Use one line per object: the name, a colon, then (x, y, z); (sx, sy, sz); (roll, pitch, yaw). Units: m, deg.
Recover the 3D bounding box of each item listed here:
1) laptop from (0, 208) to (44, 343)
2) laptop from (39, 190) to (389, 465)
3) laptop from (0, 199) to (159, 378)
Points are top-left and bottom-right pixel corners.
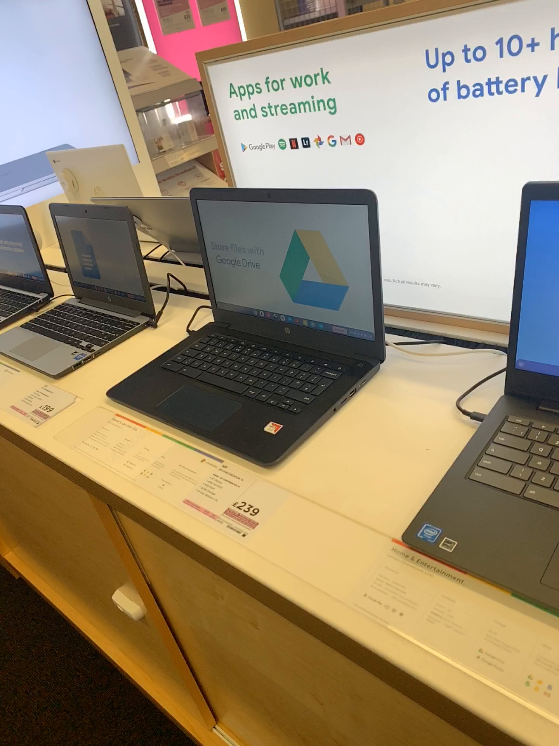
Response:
laptop: (-0.702, -0.222, 1.222); (0.335, 0.189, 0.191); (15, 43, 42)
laptop: (-0.080, -0.087, 0.734); (0.333, 0.209, 0.245); (15, 42, 41)
laptop: (-0.414, -0.166, 1.007); (0.272, 0.186, 0.242); (15, 42, 39)
